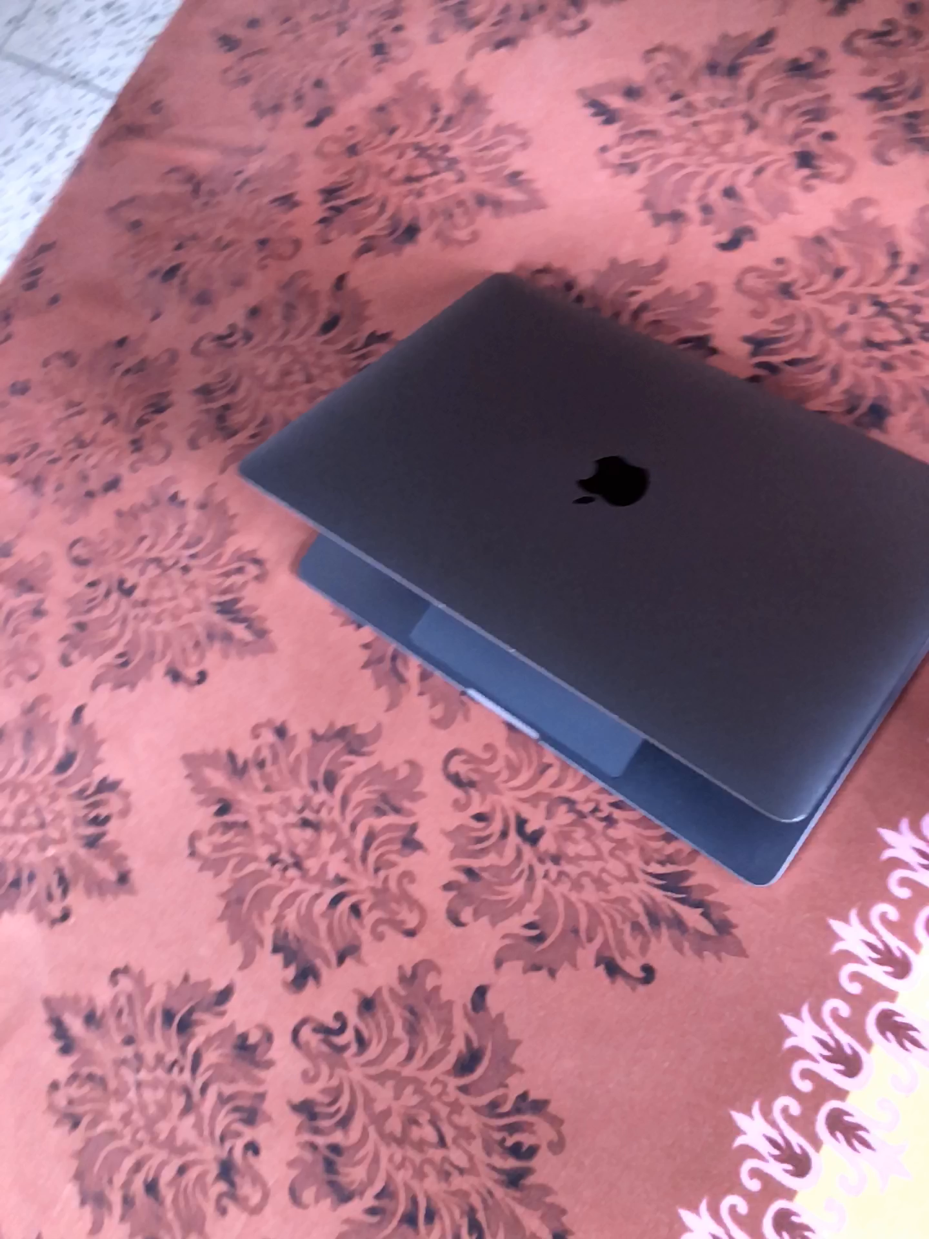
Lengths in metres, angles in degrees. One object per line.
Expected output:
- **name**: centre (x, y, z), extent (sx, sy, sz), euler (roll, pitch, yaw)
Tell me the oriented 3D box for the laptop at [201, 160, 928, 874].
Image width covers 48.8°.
- **laptop**: centre (0.060, -0.056, 0.468), extent (0.286, 0.093, 0.204), euler (34, 85, 25)
